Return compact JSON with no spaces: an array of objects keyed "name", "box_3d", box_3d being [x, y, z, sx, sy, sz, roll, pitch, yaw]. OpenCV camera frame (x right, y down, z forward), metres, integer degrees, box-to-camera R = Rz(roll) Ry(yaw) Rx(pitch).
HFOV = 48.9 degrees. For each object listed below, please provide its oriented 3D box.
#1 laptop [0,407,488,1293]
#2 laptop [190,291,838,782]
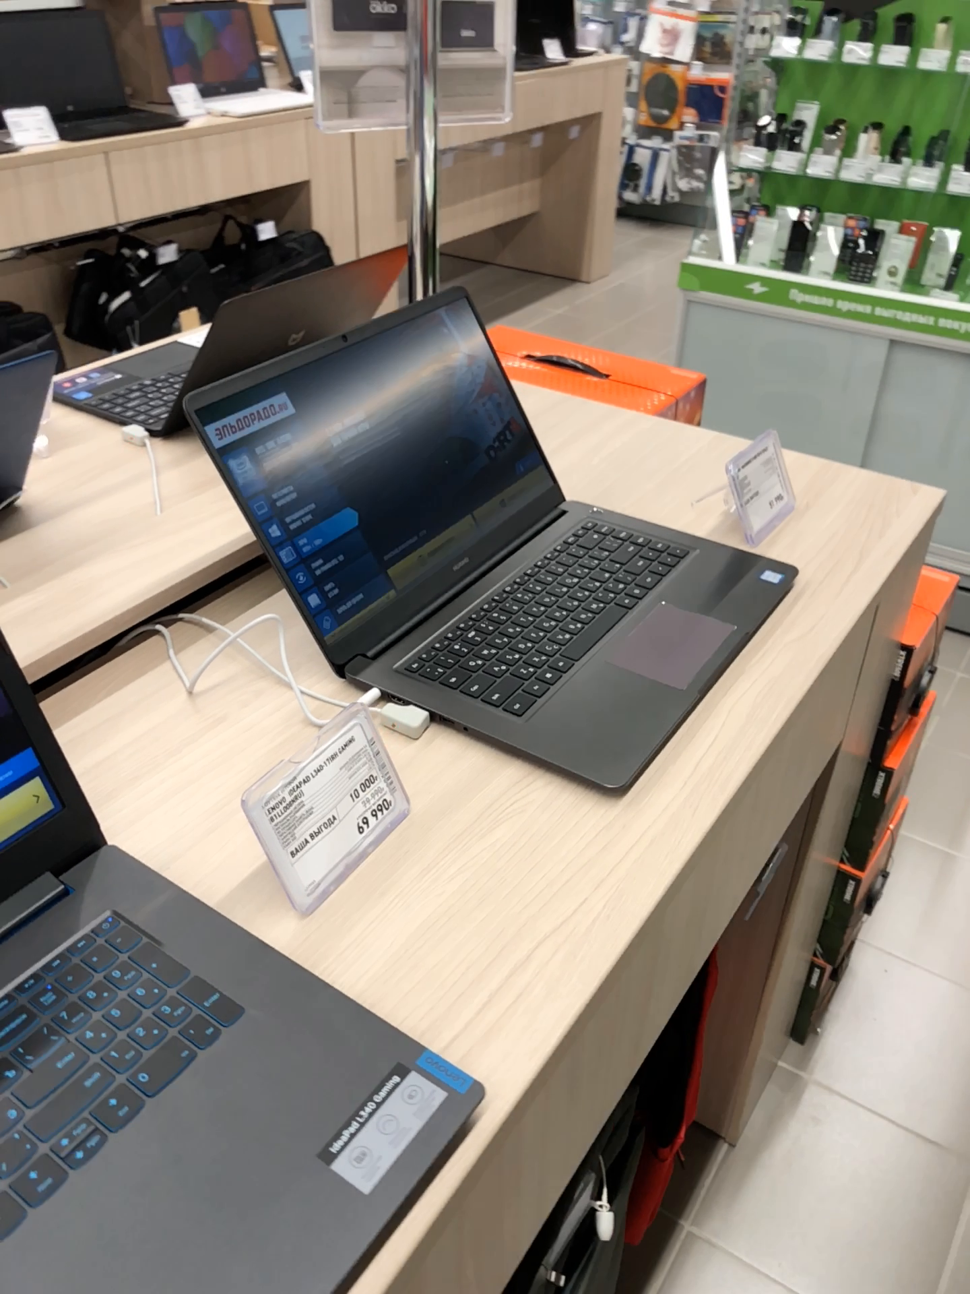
[{"name":"laptop","box_3d":[-0.264,0.129,0.388,0.379,0.242,0.393,22,38,28]},{"name":"laptop","box_3d":[0.034,-0.122,0.849,0.358,0.180,0.346,20,38,25]}]
